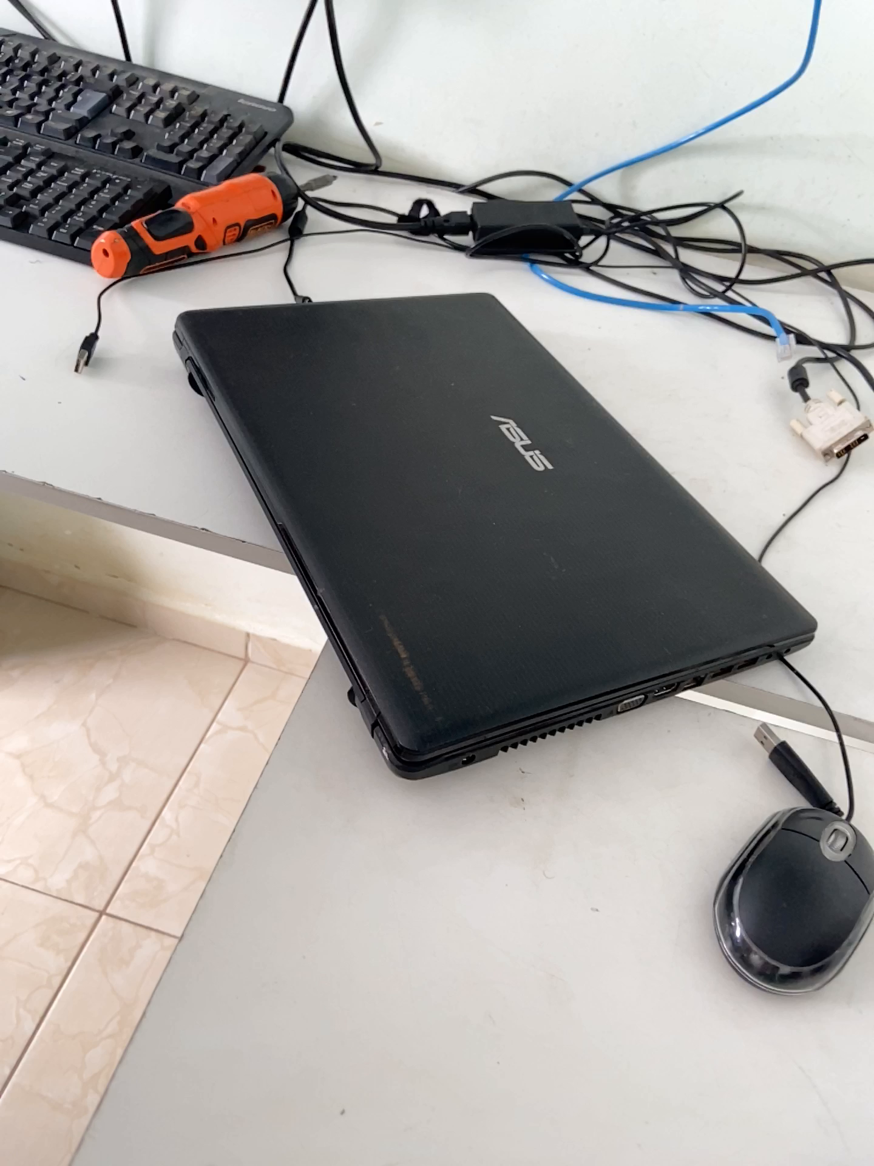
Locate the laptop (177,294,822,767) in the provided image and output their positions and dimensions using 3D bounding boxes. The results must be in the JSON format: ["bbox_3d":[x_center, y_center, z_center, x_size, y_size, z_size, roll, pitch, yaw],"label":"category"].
[{"bbox_3d":[0.016,-0.077,0.553,0.253,0.010,0.382,-12,48,-25],"label":"laptop"}]
